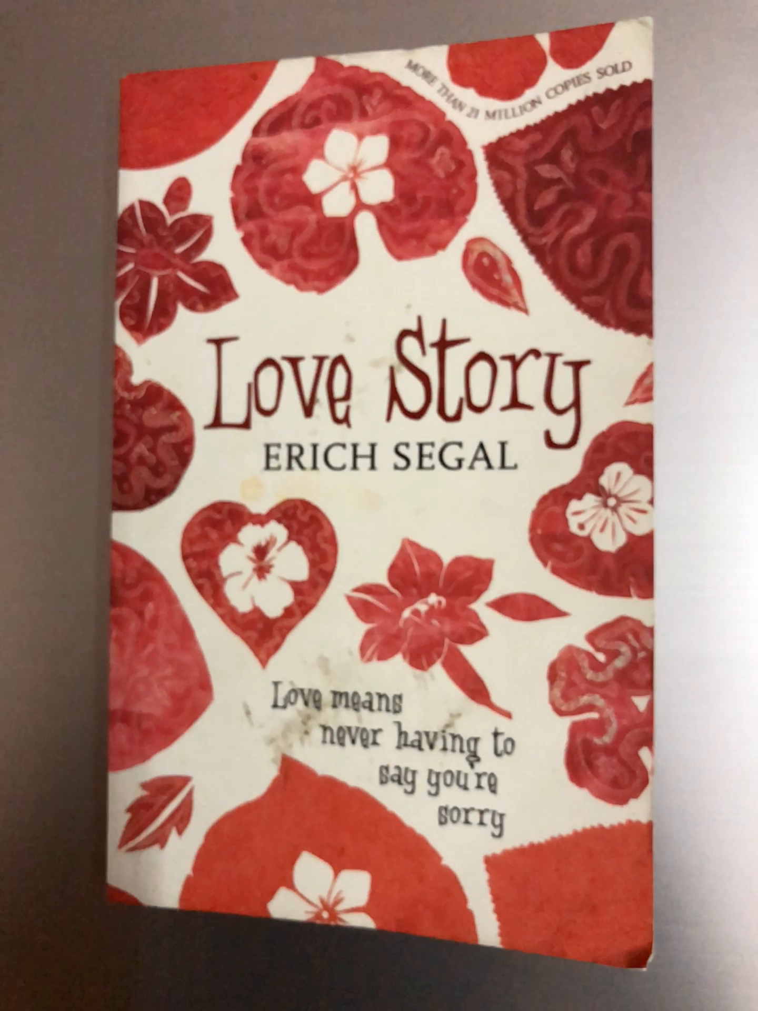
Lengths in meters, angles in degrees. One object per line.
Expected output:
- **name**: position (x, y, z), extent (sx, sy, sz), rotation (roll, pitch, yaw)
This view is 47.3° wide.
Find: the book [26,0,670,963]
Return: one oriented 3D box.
- **book**: position (-0.006, -0.011, 0.176), extent (0.120, 0.030, 0.180), rotation (0, 88, 10)
